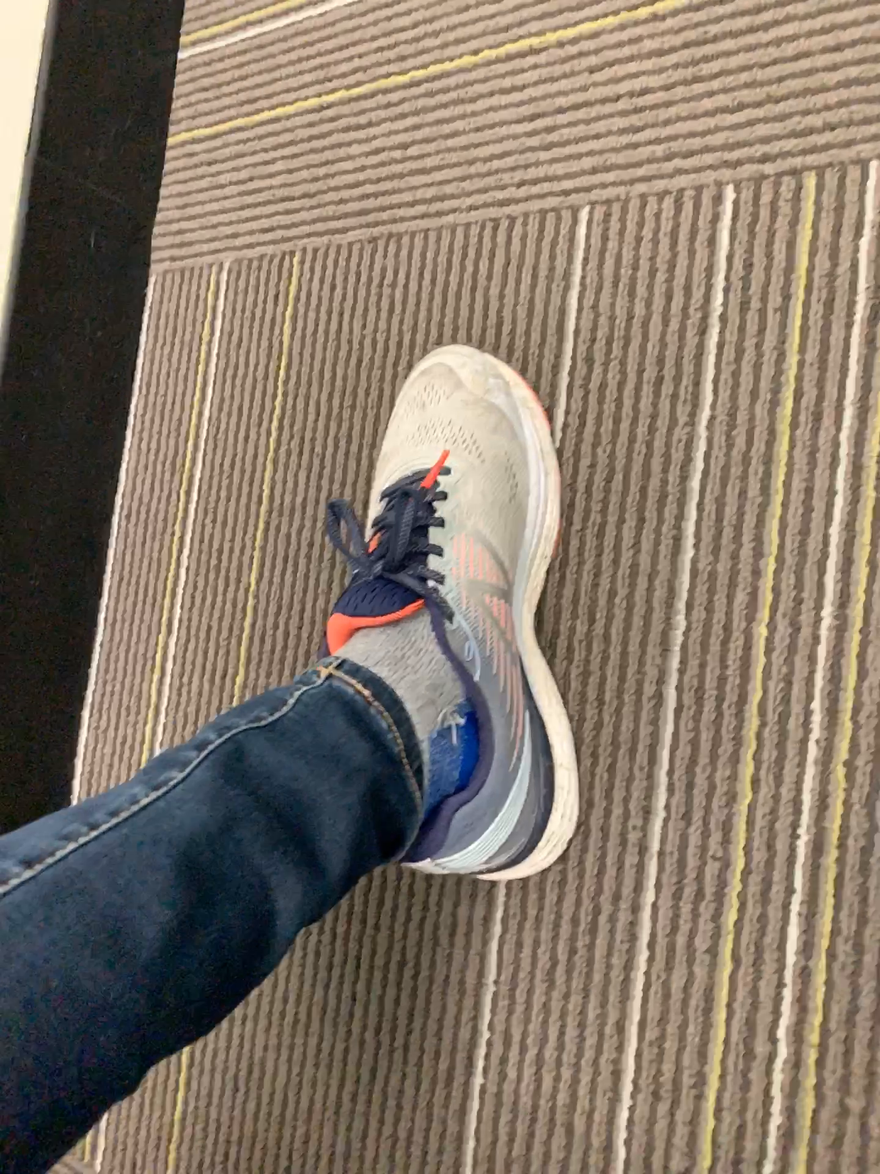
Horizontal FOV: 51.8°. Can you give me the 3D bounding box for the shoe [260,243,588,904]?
[{"bbox_3d":[-0.010,-0.001,0.430,0.110,0.090,0.270,-9,79,31],"label":"shoe"}]
